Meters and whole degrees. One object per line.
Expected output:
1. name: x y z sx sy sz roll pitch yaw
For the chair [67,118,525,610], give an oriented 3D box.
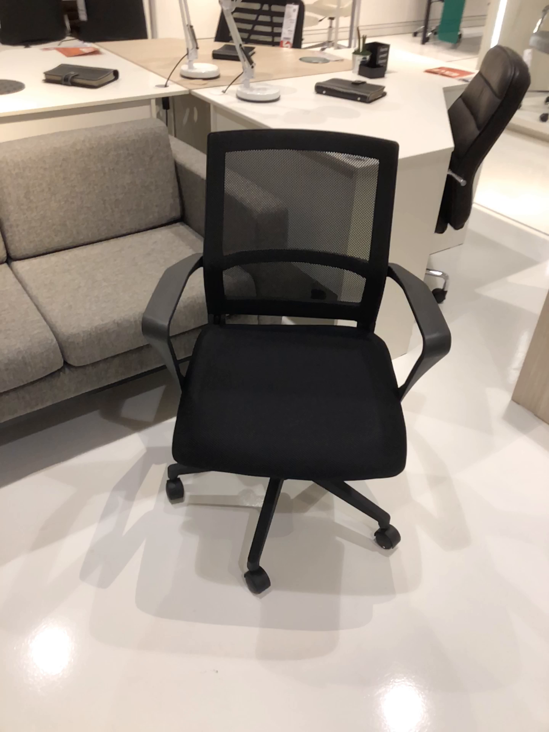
1. chair: 0.029 0.004 1.427 0.680 0.932 0.635 3 37 1
